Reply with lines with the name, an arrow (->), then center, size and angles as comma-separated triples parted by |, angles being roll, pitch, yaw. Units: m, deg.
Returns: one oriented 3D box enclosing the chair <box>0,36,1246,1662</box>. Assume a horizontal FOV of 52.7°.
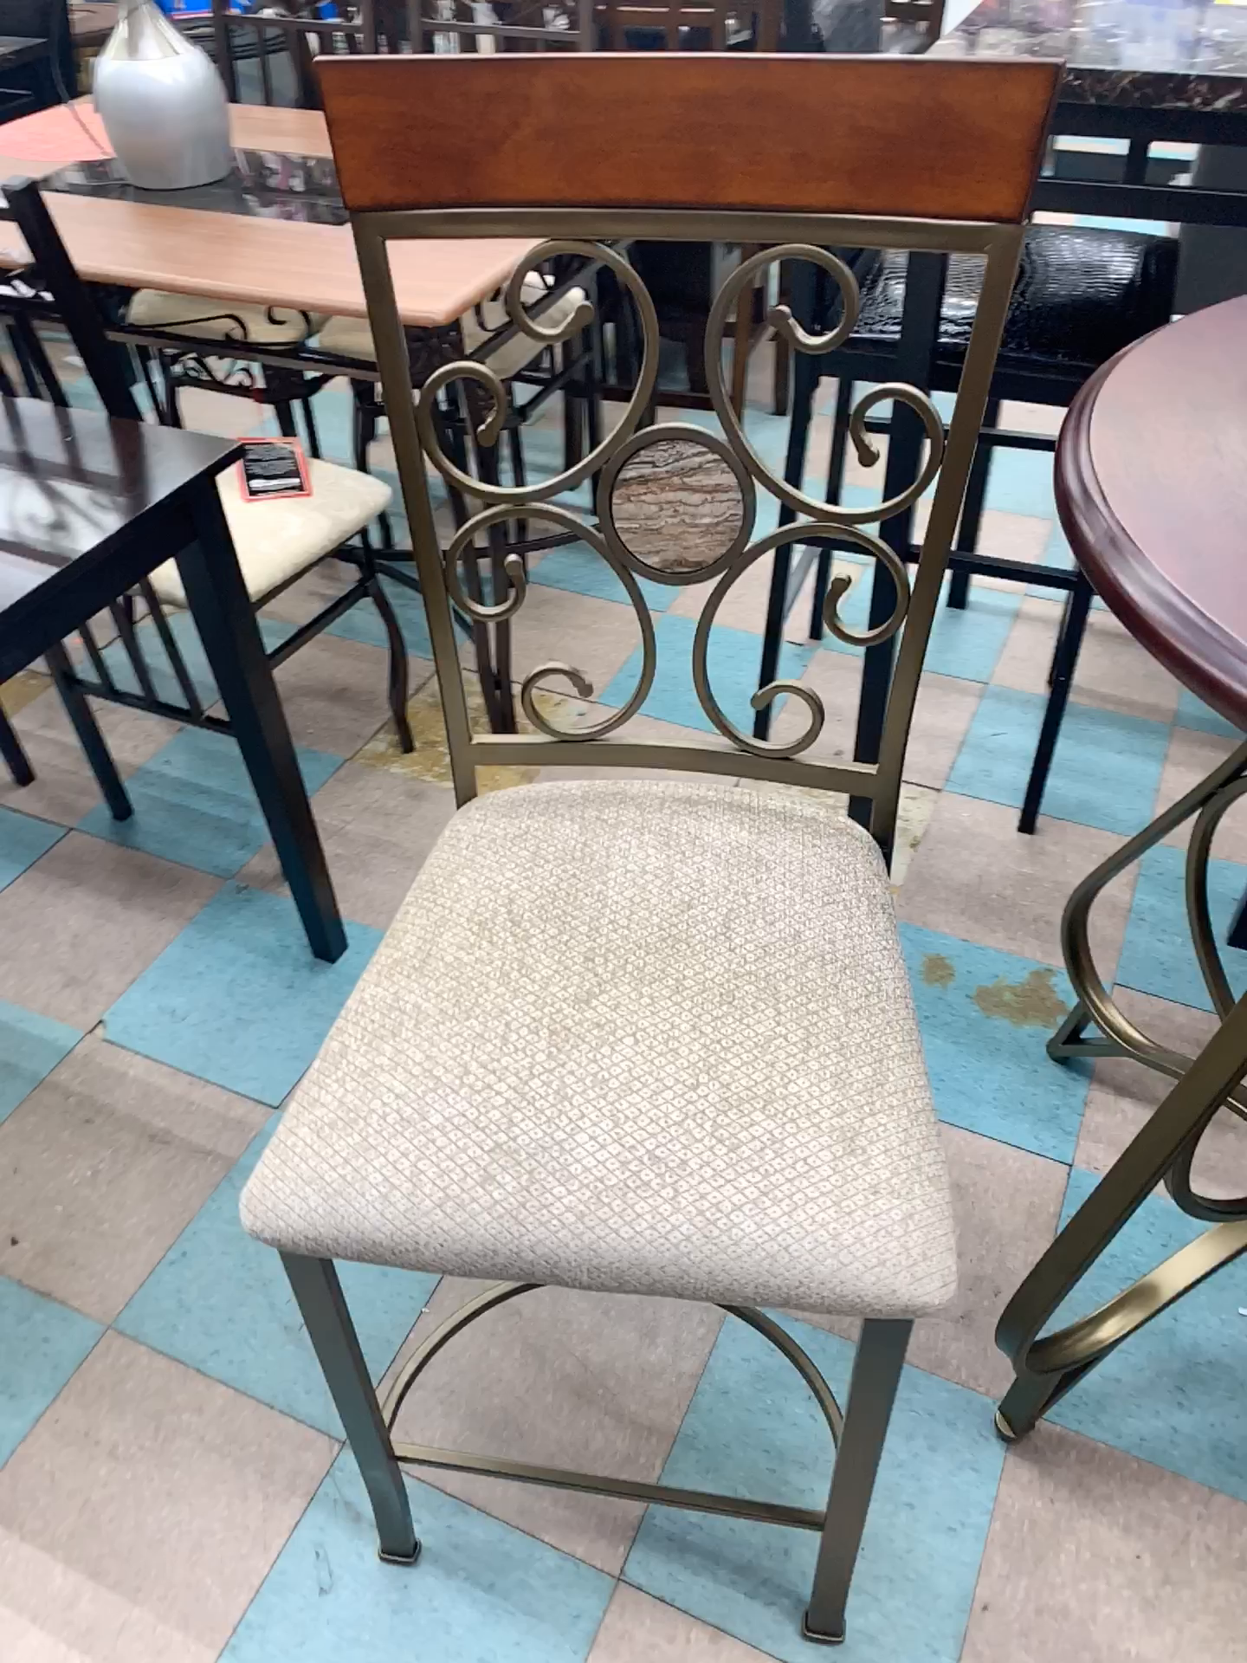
chair -> -0.013, 0.092, 0.939 | 0.510, 1.074, 0.563 | 6, 43, 9
